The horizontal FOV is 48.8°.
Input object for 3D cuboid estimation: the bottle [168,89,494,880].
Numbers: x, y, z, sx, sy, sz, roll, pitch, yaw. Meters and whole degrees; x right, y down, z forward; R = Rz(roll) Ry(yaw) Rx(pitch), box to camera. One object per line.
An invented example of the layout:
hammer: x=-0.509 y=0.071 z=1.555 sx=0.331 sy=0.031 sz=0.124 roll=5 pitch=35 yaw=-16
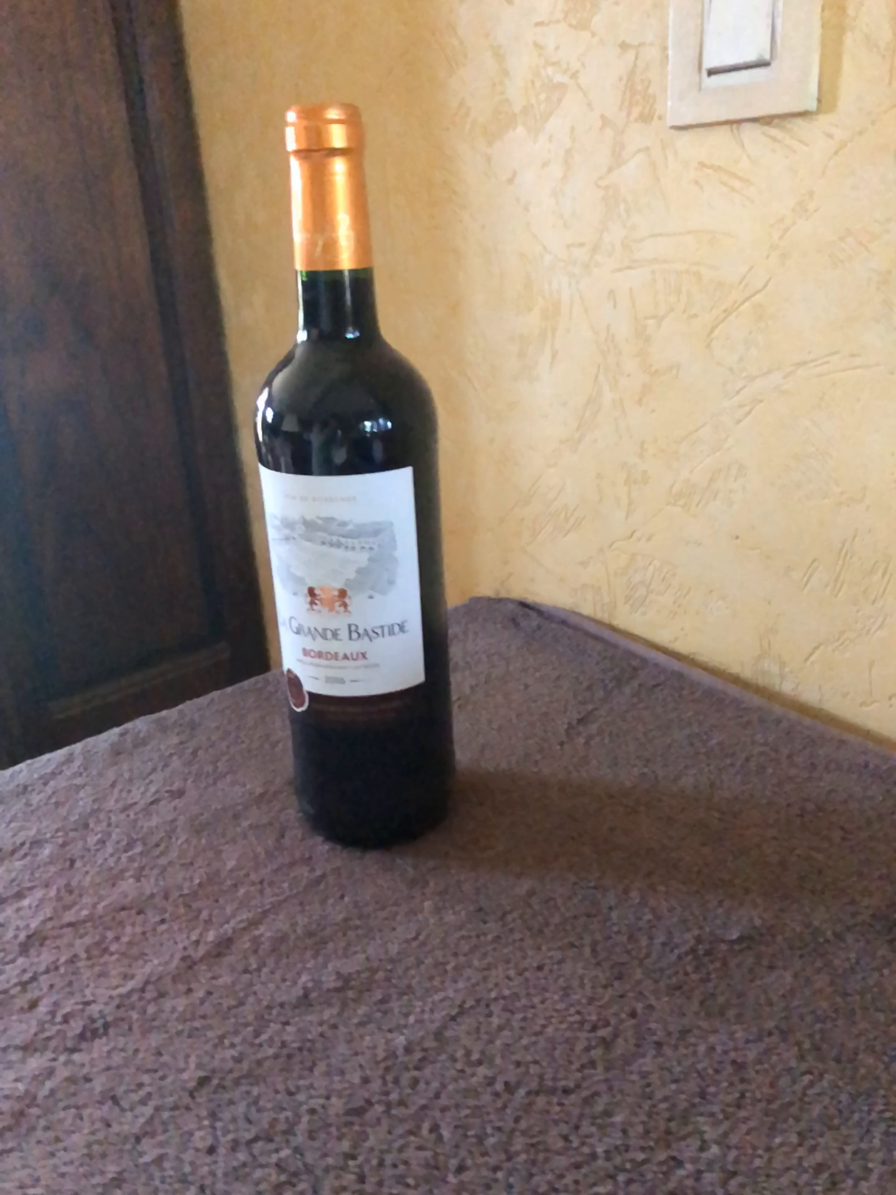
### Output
bottle: x=-0.036 y=-0.038 z=0.411 sx=0.080 sy=0.299 sz=0.080 roll=-3 pitch=20 yaw=1
